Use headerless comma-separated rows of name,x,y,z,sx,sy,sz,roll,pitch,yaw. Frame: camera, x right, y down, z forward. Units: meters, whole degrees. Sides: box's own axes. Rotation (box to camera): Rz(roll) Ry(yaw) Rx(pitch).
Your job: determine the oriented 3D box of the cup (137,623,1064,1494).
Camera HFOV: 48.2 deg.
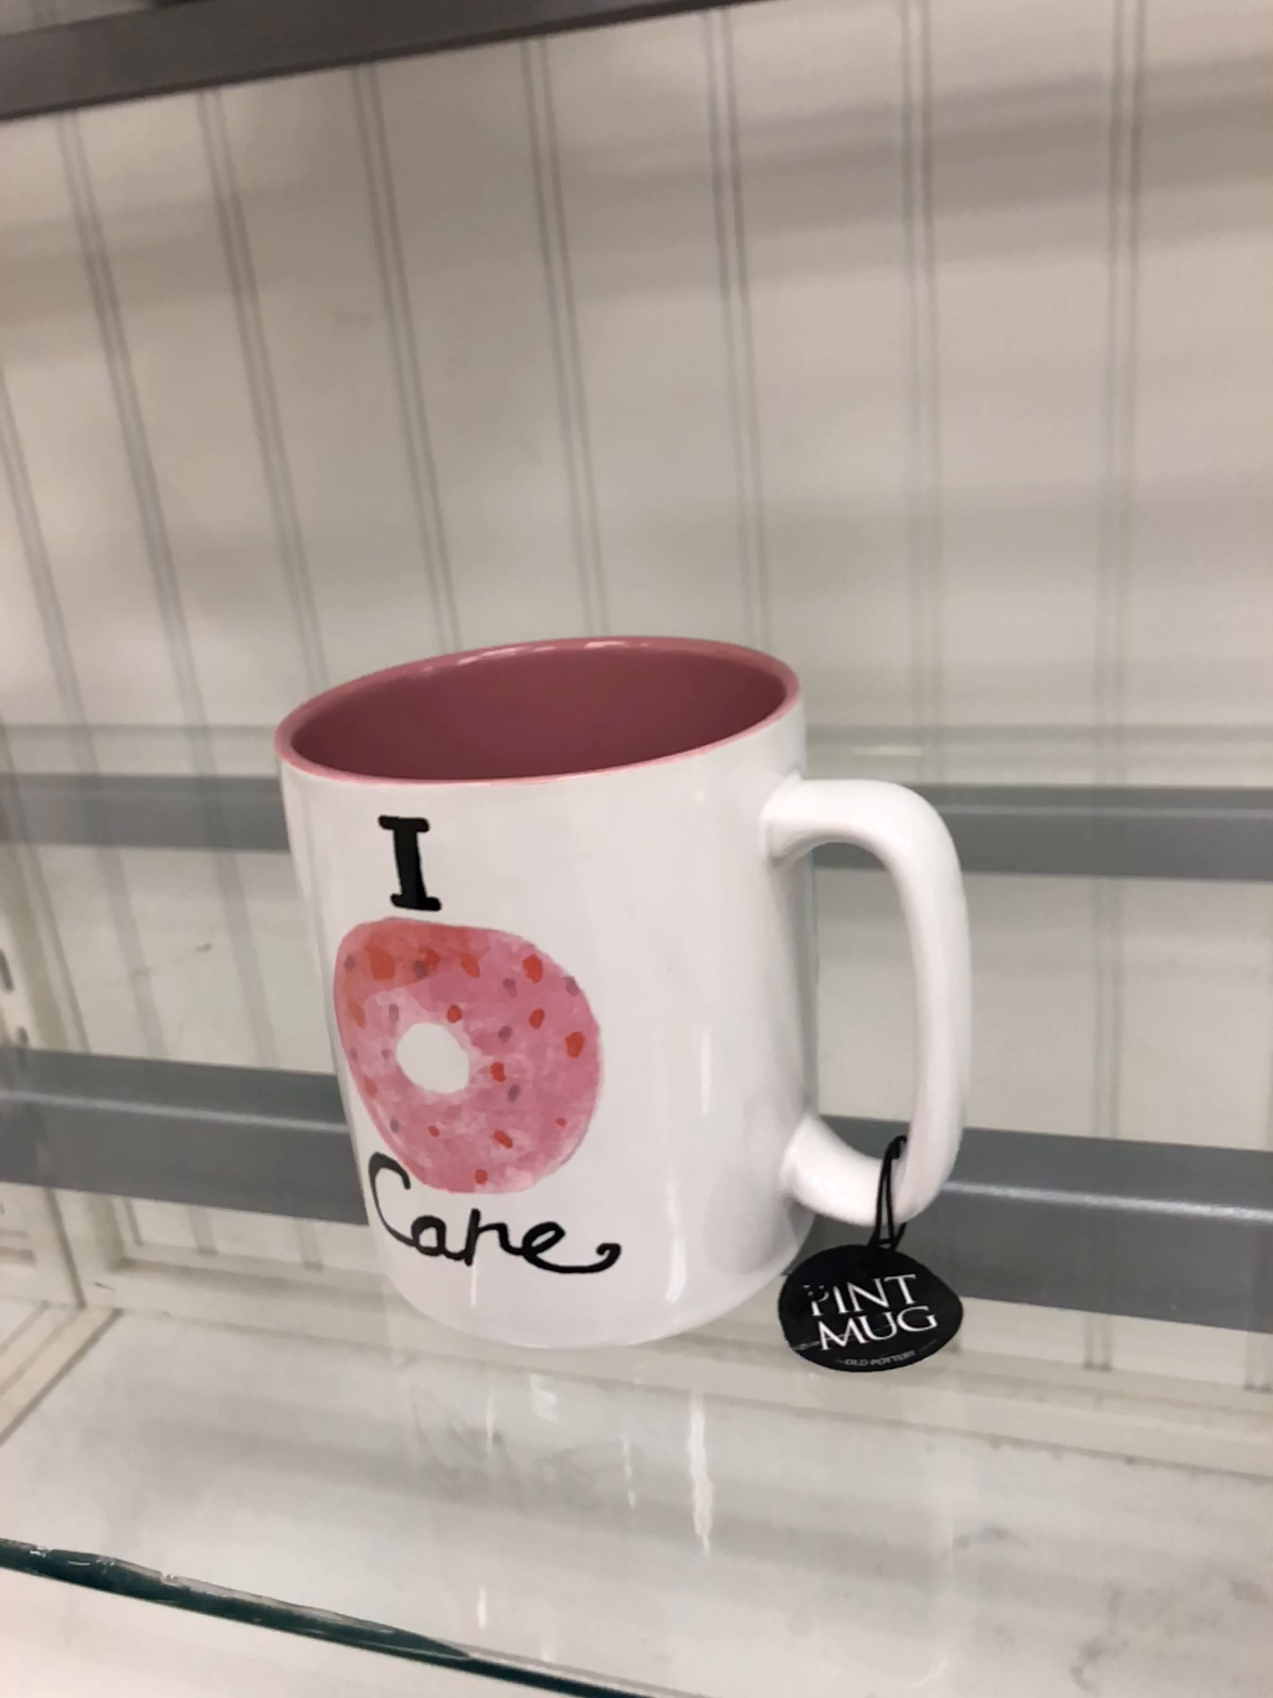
cup,0.002,0.025,0.276,0.137,0.112,0.101,5,24,27
